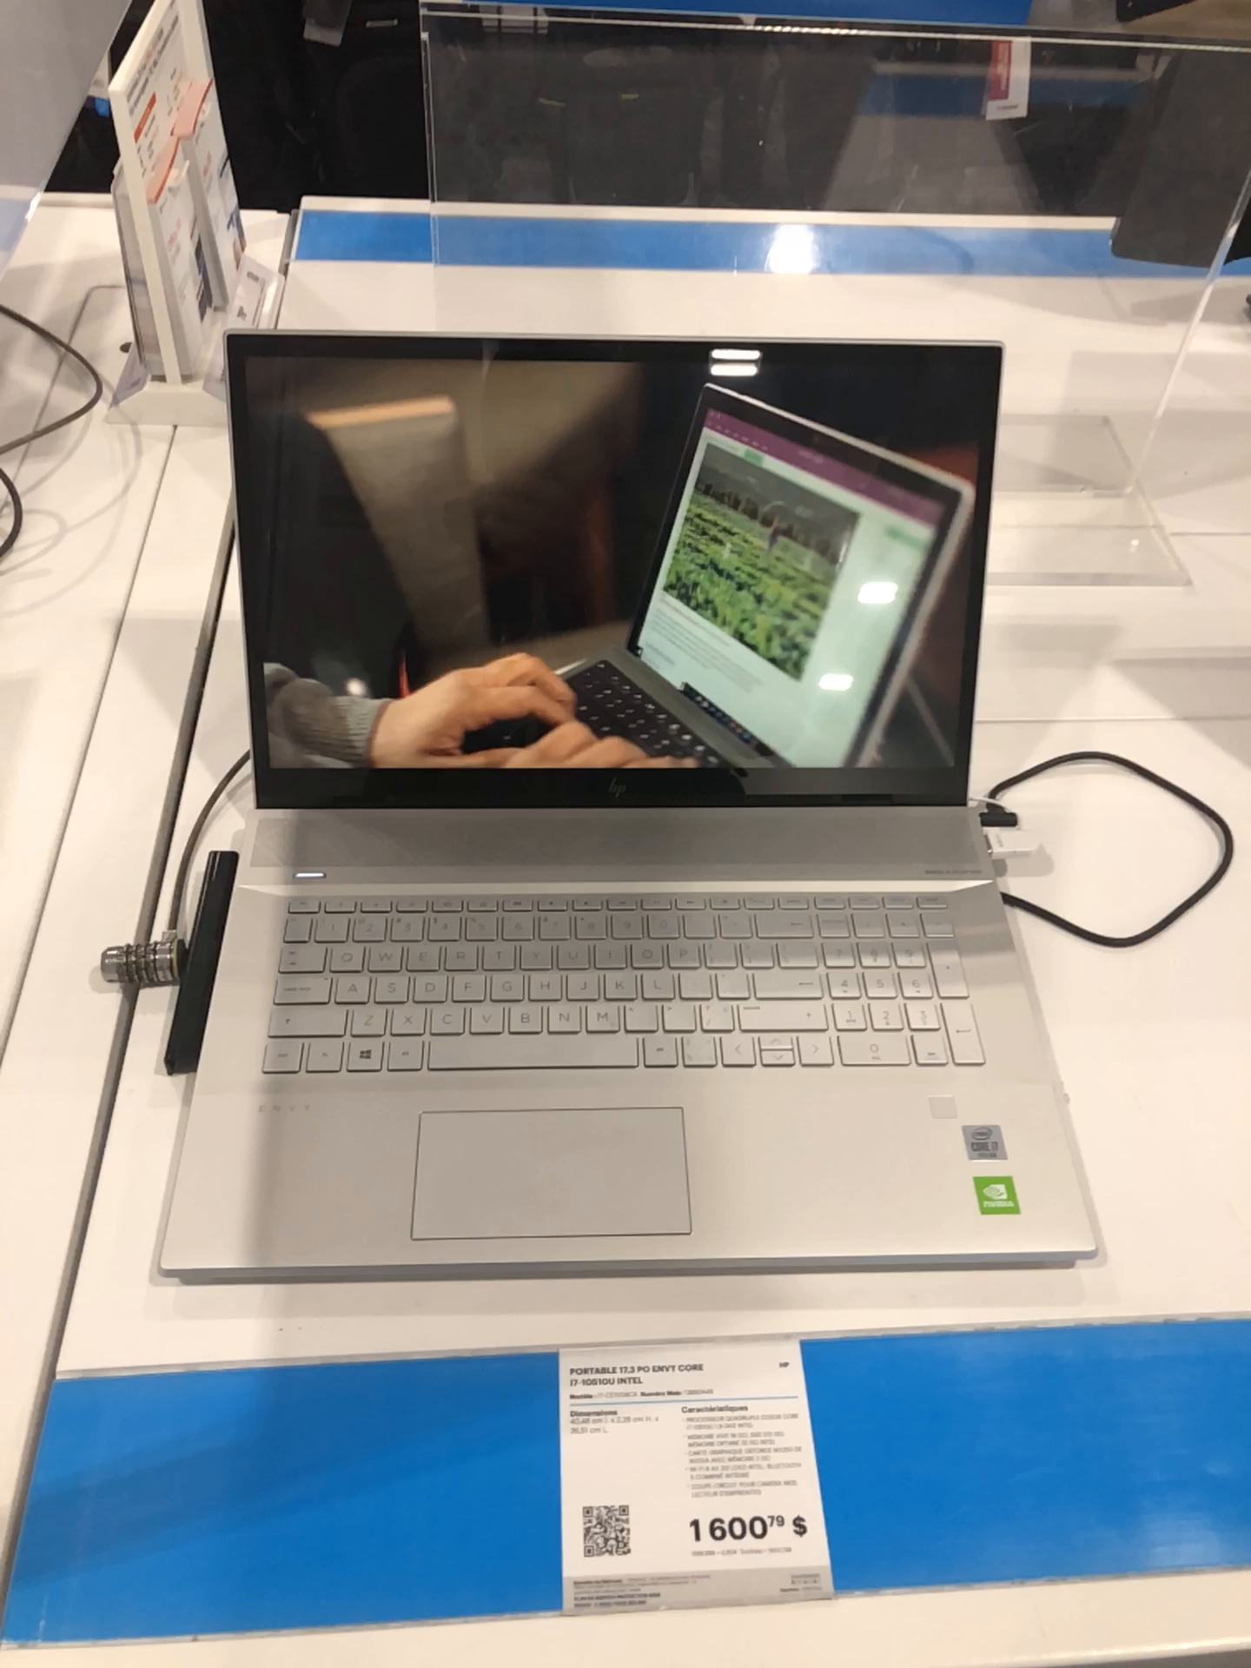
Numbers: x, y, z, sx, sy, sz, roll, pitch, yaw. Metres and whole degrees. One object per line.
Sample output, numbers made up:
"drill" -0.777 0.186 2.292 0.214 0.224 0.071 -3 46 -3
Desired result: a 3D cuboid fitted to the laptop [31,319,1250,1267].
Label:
"laptop" 0.000 -0.039 0.637 0.390 0.199 0.399 0 48 -4
